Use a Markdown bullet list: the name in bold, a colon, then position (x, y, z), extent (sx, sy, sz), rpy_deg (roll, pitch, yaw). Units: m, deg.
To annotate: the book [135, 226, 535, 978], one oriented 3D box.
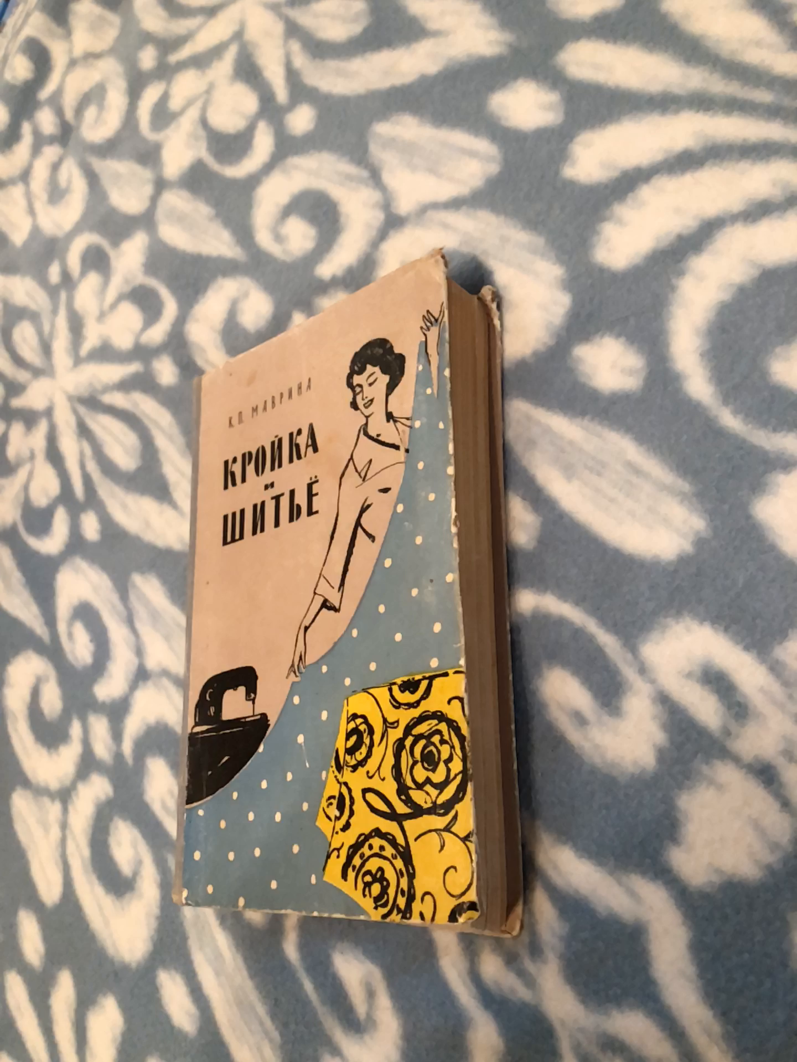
- **book**: position (-0.029, 0.026, 0.327), extent (0.152, 0.037, 0.231), rpy_deg (-16, 66, 40)
